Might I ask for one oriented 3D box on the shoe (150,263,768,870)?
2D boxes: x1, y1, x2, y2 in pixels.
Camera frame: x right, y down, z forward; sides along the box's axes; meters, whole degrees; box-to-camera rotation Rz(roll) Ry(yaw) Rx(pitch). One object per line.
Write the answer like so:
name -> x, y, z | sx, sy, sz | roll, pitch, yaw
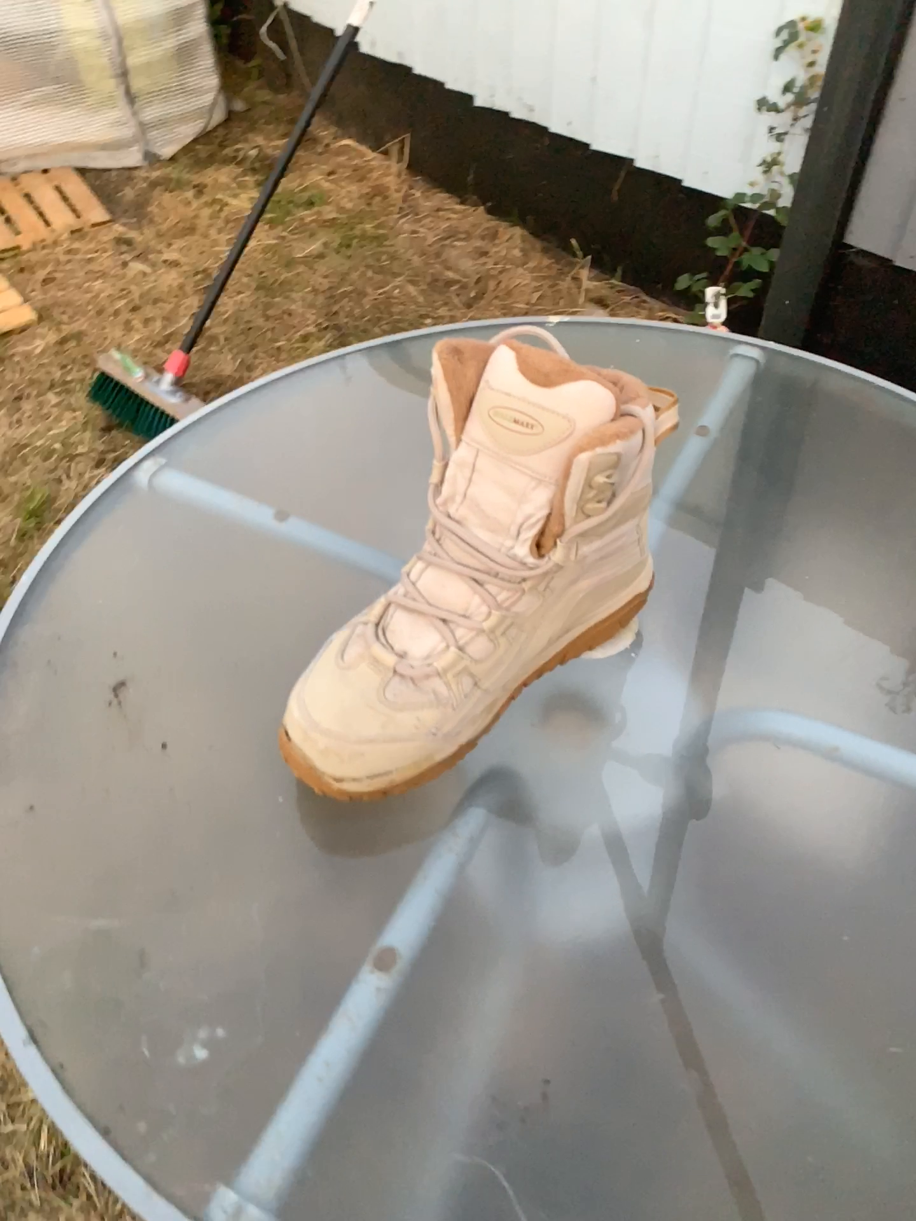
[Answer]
shoe -> 0.012, -0.031, 0.513 | 0.281, 0.198, 0.121 | -32, 53, -25
